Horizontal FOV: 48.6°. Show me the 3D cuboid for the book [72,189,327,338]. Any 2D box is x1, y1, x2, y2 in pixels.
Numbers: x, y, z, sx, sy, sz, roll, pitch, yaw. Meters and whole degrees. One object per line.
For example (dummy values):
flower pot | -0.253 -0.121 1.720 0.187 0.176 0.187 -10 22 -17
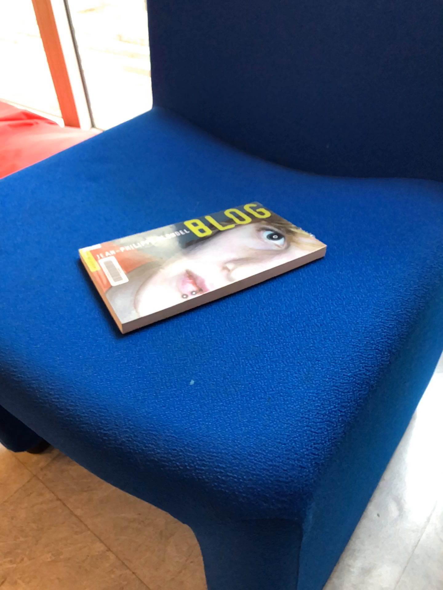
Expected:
book | -0.026 -0.045 0.505 0.221 0.018 0.143 -20 42 -19
